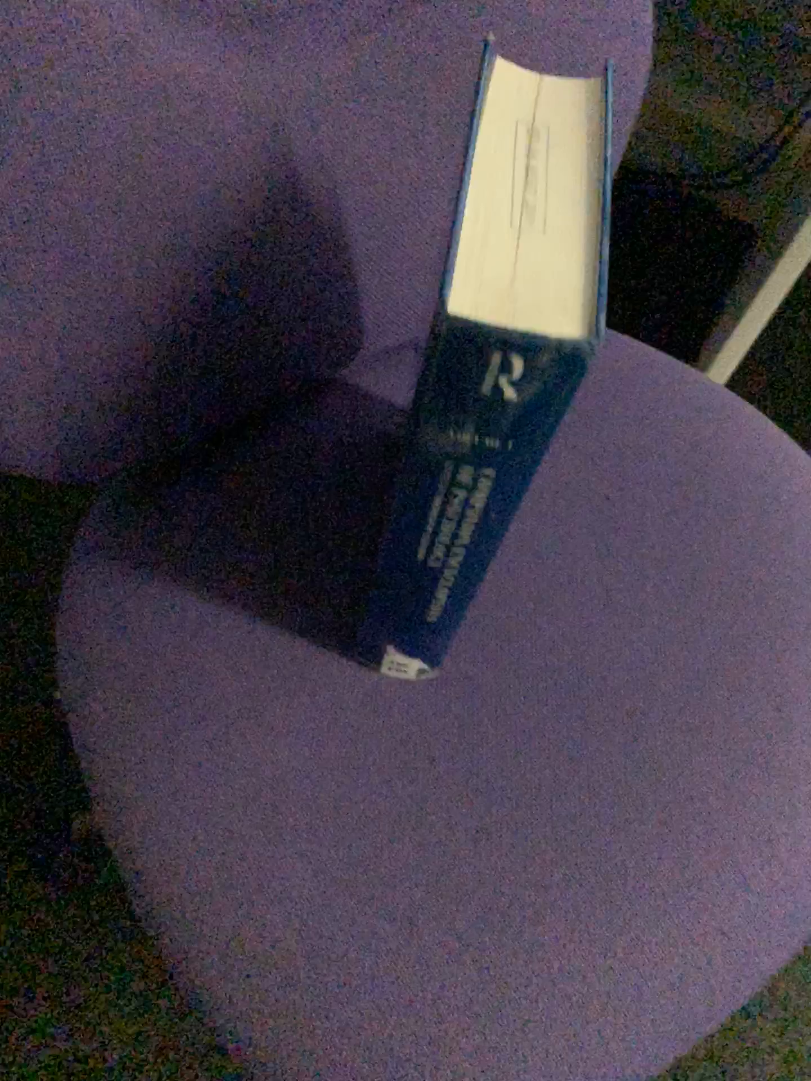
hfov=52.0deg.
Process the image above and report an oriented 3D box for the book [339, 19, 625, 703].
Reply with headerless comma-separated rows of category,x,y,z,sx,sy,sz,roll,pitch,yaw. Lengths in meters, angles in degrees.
book,0.026,-0.058,0.394,0.052,0.264,0.182,13,58,-3
